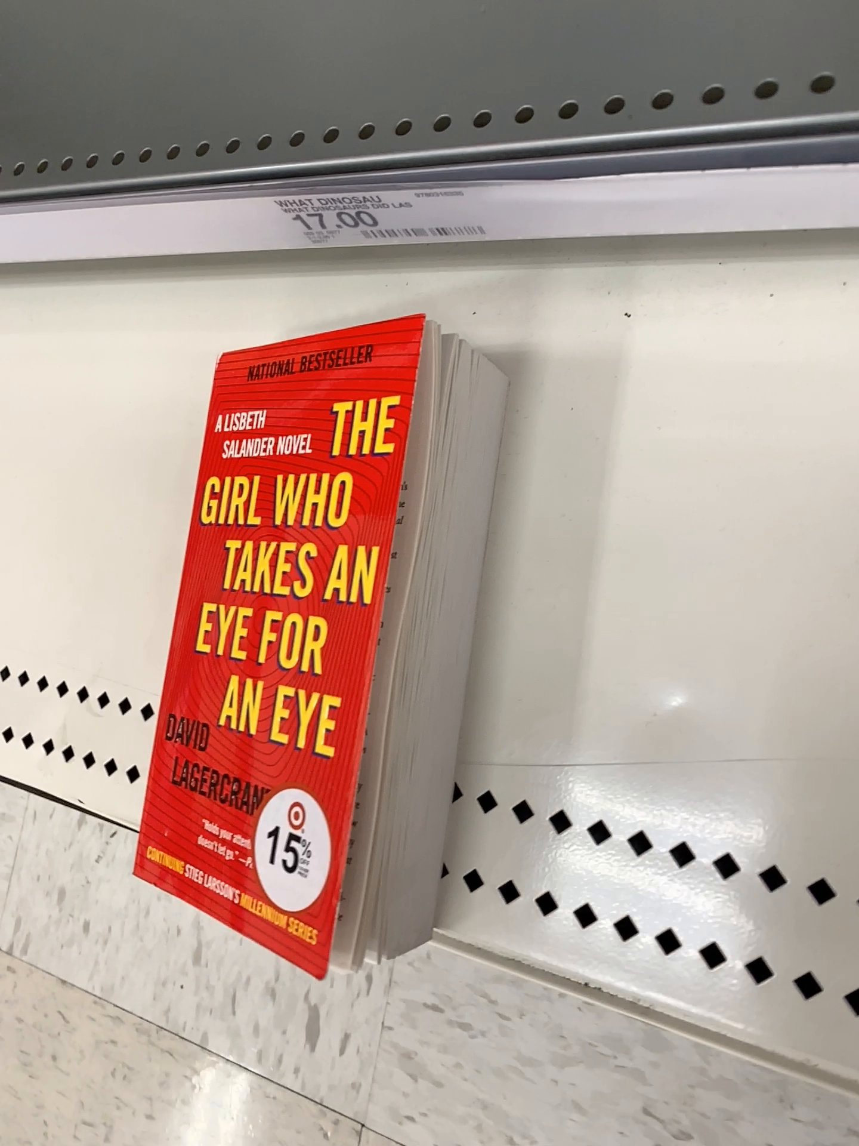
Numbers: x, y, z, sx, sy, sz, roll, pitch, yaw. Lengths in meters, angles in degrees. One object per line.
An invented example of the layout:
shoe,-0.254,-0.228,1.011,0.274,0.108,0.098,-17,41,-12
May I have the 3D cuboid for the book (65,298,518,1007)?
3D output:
book,-0.045,0.017,0.295,0.115,0.046,0.199,6,85,27
